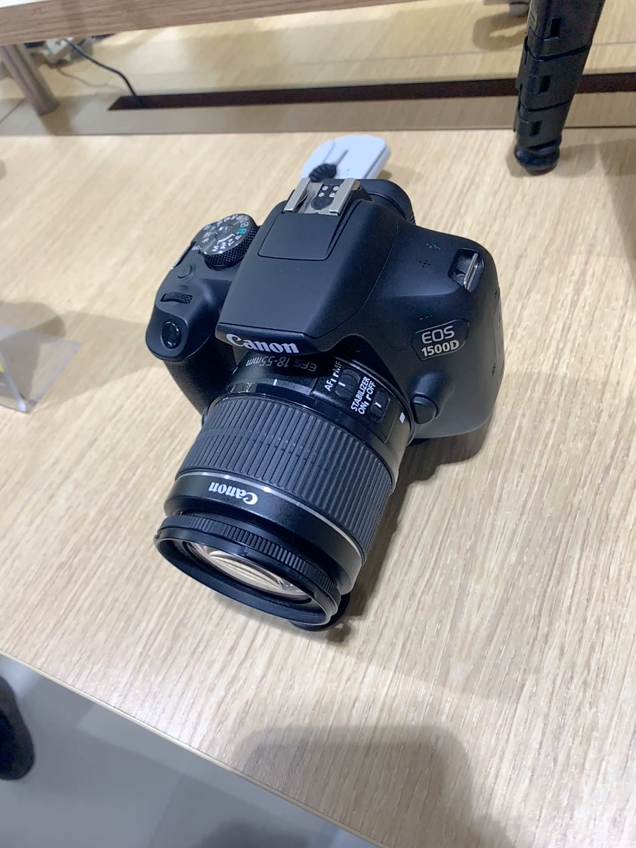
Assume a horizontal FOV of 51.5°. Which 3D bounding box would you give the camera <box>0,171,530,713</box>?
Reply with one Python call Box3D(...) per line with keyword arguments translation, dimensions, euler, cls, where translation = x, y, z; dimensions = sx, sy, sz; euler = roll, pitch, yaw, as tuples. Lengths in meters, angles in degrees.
Box3D(translation=(-0.005, -0.003, 0.225), dimensions=(0.121, 0.088, 0.140), euler=(9, 57, 25), cls="camera")
